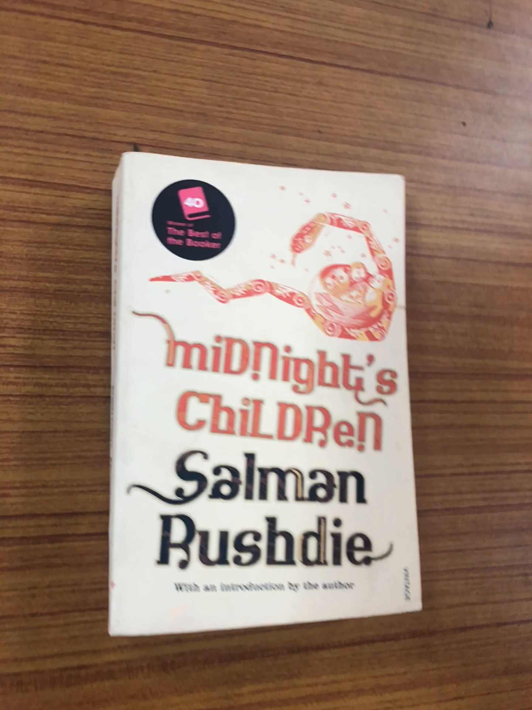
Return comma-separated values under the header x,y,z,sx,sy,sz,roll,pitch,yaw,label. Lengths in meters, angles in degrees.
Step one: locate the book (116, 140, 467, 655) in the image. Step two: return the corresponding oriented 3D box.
x,y,z,sx,sy,sz,roll,pitch,yaw,label
0.007,0.014,0.266,0.140,0.040,0.200,1,80,-13,book
